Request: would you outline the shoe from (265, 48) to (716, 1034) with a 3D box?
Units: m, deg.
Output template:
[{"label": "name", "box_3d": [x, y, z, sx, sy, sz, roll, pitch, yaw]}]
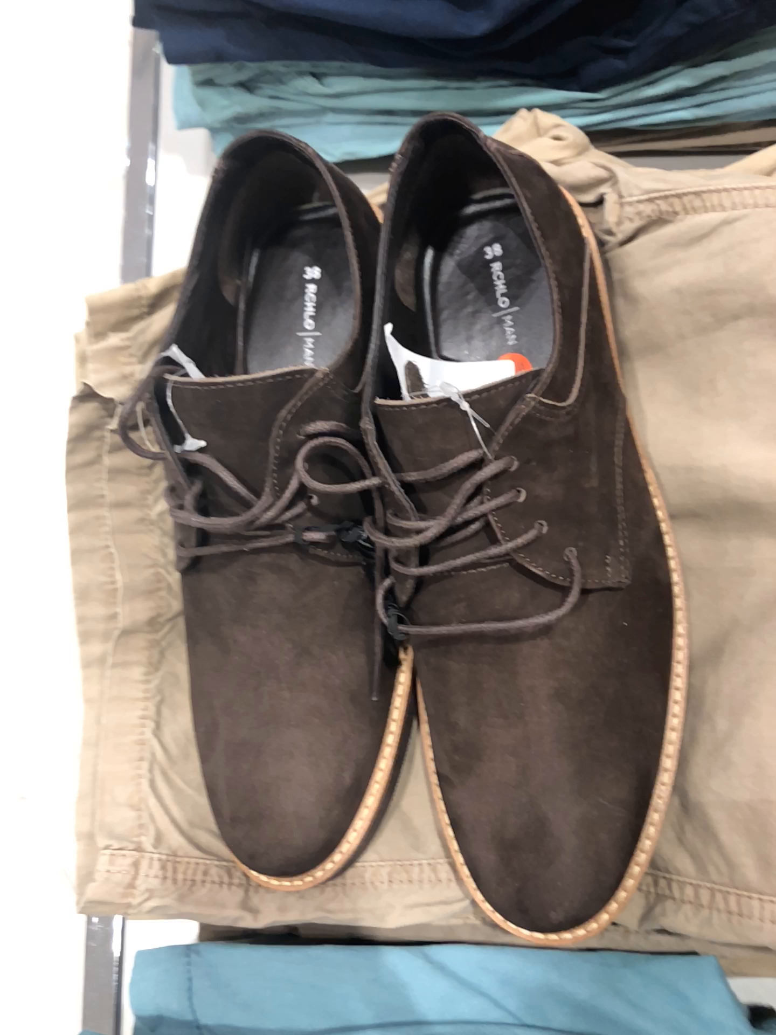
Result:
[{"label": "shoe", "box_3d": [0.037, 0.015, 0.280, 0.100, 0.110, 0.260, -7, 81, 22]}]

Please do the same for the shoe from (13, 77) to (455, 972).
[{"label": "shoe", "box_3d": [-0.046, 0.001, 0.320, 0.110, 0.110, 0.260, 1, 87, 19]}]
